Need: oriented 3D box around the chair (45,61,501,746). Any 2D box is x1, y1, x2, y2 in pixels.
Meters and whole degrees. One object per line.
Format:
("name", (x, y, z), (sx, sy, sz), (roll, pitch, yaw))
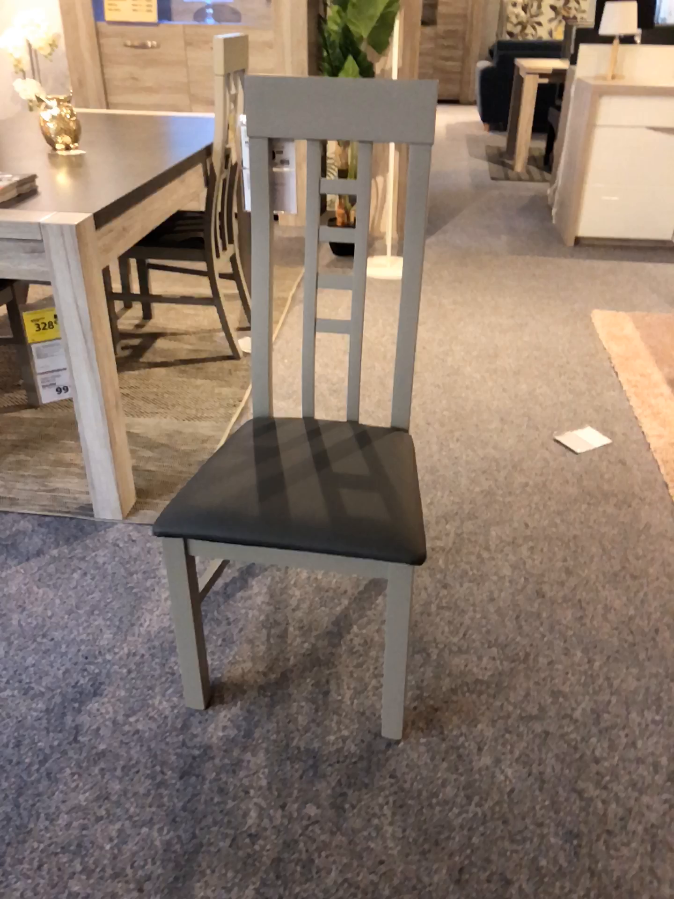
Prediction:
("chair", (-0.037, -0.088, 1.291), (0.510, 1.014, 0.554), (5, 30, 8))
